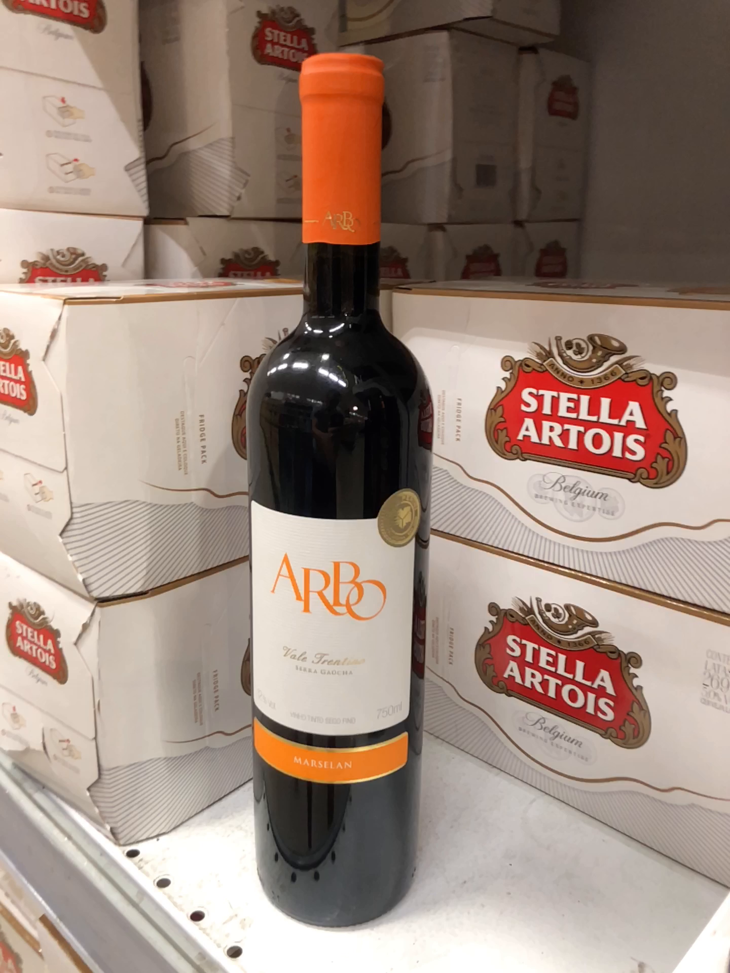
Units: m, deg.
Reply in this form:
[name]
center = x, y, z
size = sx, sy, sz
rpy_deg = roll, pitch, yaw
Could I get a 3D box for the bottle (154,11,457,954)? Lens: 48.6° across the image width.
[bottle]
center = -0.011, 0.014, 0.290
size = 0.080, 0.308, 0.070
rpy_deg = 1, 17, 6
